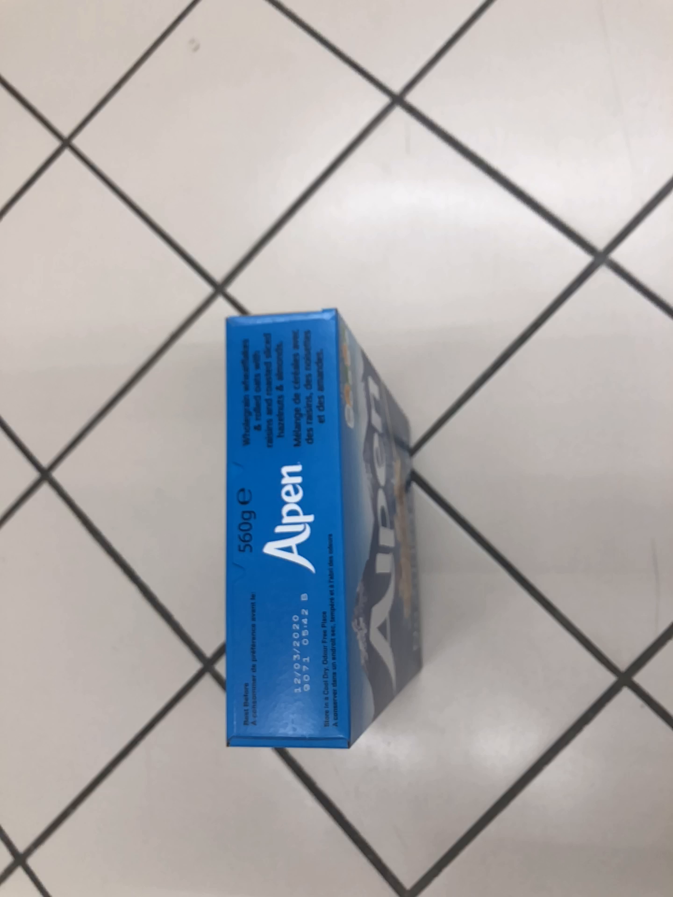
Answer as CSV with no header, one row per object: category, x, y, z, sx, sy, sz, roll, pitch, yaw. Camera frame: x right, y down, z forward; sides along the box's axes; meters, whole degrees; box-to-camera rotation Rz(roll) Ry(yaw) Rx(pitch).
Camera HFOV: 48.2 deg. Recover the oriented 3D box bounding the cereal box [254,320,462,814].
cereal box,0.024,0.059,0.394,0.060,0.230,0.180,-4,80,12
